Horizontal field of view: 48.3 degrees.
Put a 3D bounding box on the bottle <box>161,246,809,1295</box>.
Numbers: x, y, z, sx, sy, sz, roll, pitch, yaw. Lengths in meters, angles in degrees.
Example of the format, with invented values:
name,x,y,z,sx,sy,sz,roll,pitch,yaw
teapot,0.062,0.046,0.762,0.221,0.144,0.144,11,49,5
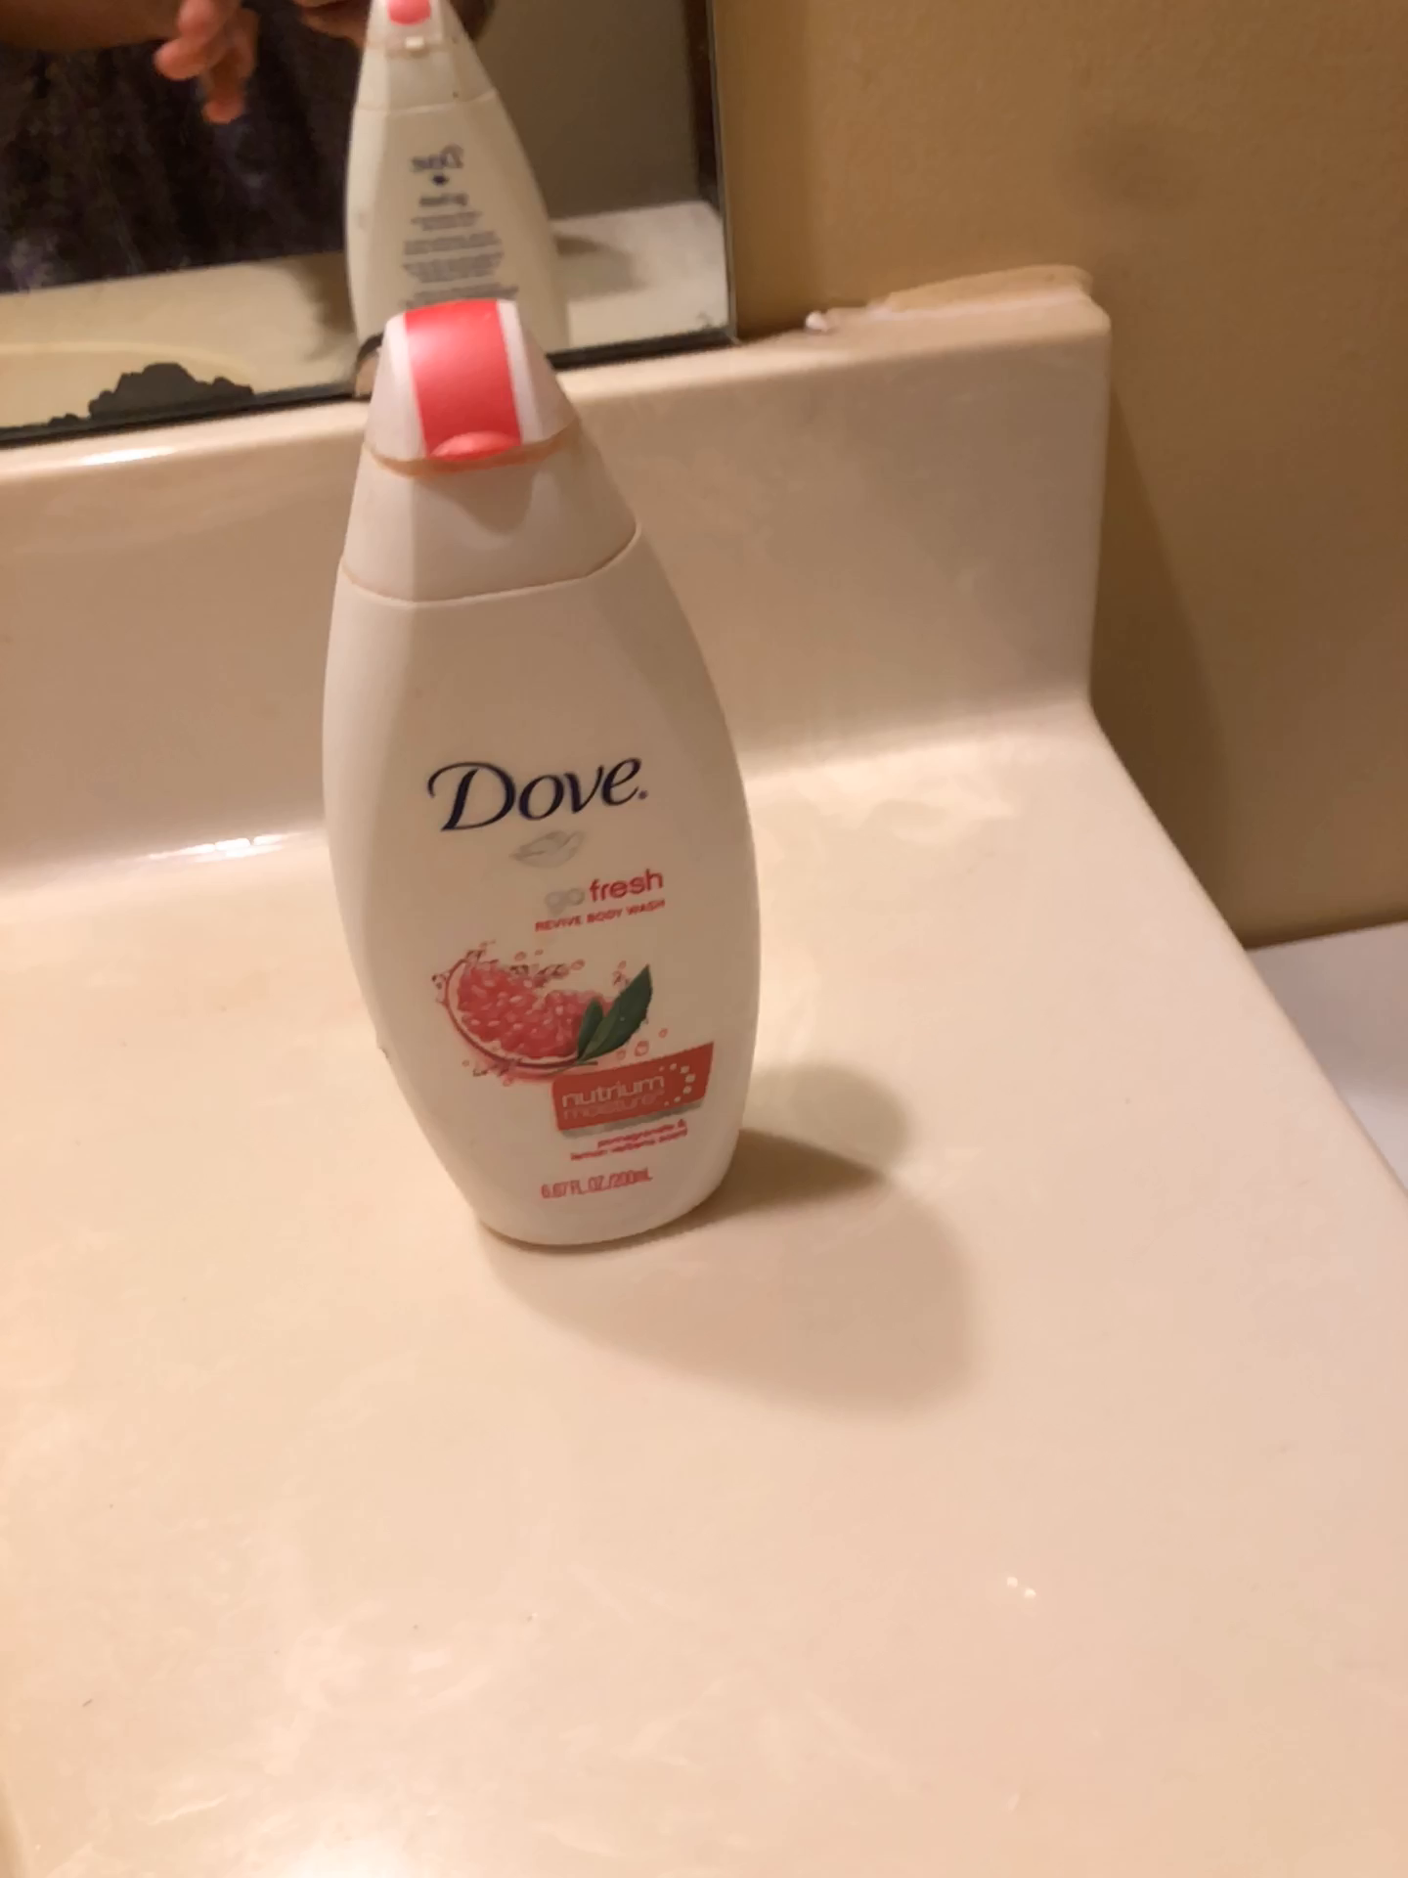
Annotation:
name,x,y,z,sx,sy,sz,roll,pitch,yaw
bottle,-0.025,-0.016,0.250,0.070,0.160,0.040,-9,38,-4
